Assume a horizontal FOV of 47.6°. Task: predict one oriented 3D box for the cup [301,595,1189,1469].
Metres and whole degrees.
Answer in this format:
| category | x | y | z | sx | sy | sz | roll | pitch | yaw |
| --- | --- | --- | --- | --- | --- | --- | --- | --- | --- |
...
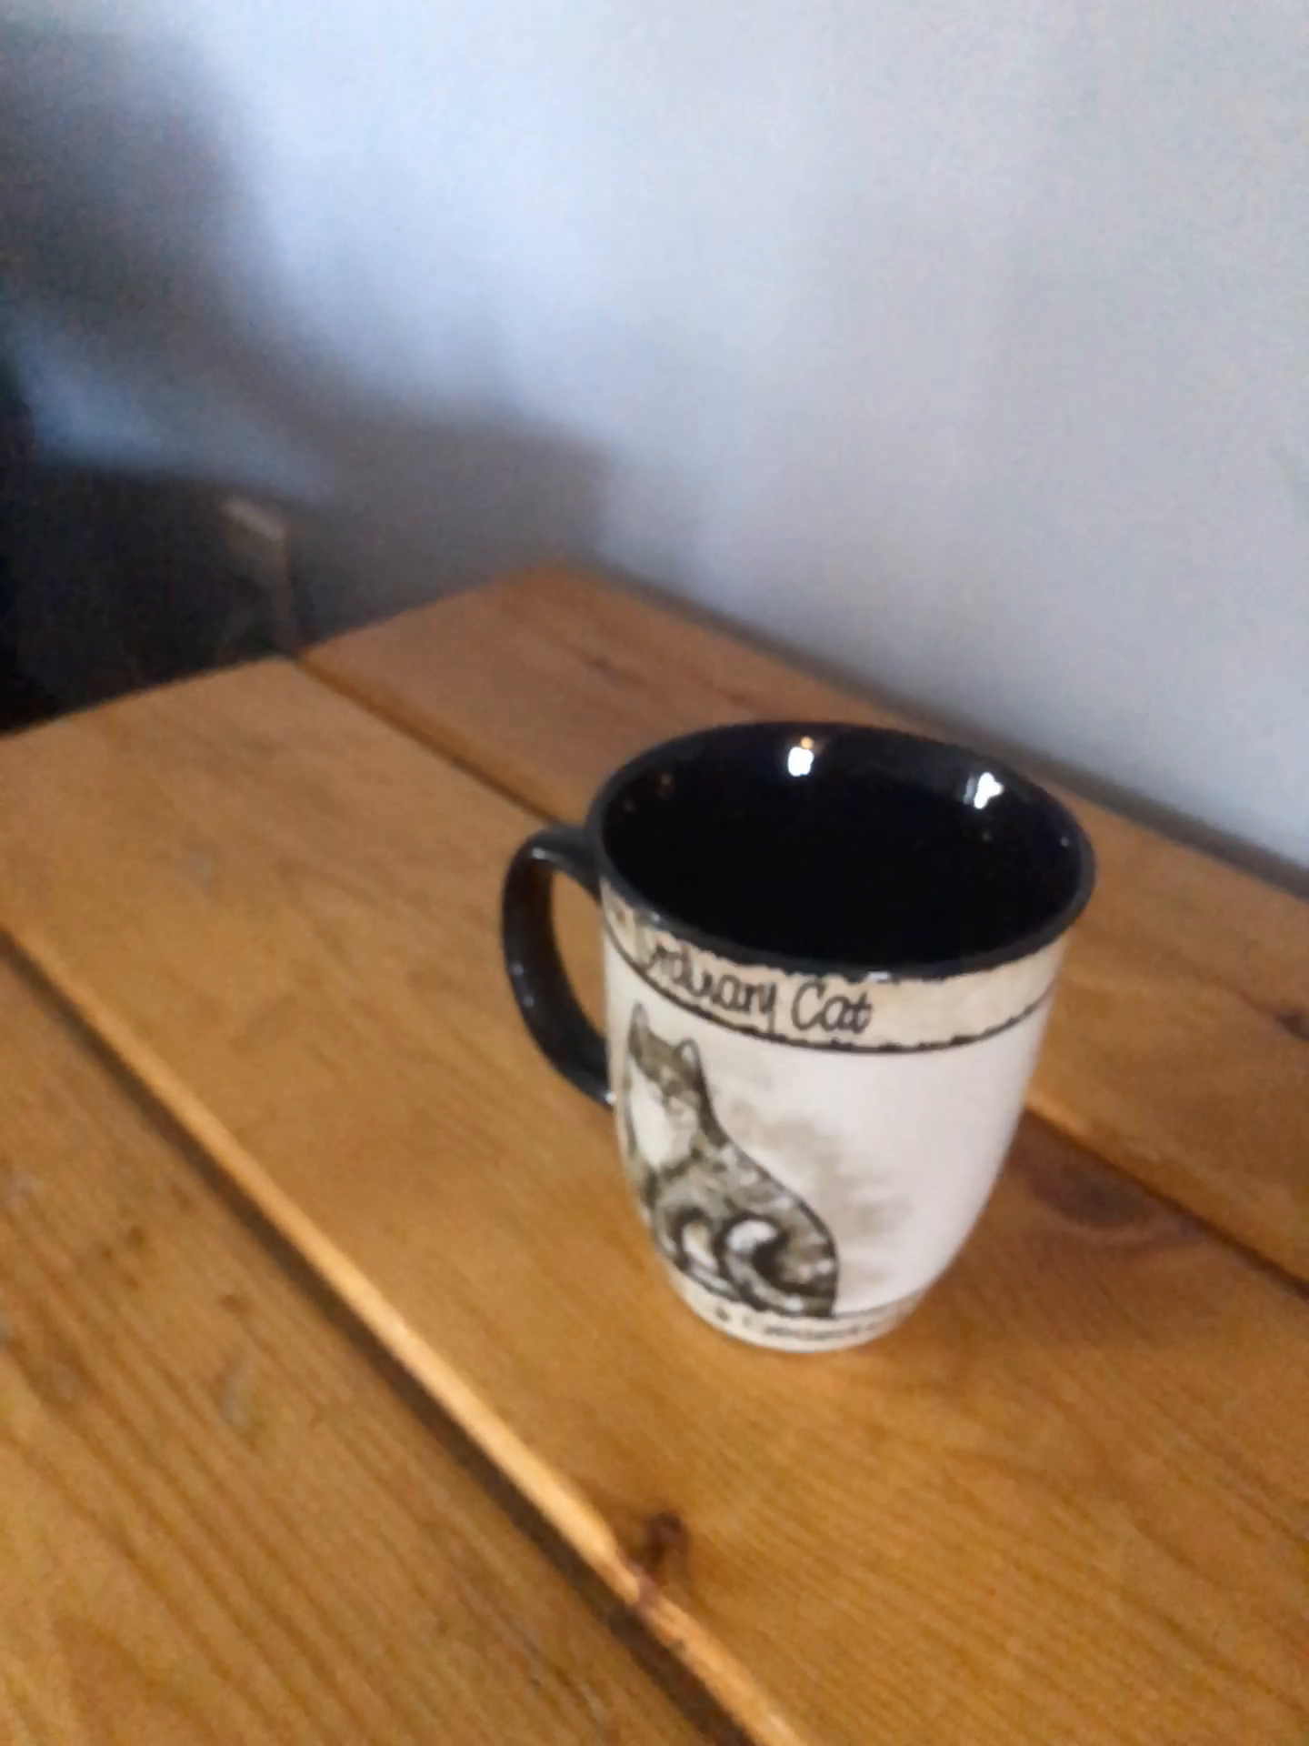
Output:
| category | x | y | z | sx | sy | sz | roll | pitch | yaw |
| --- | --- | --- | --- | --- | --- | --- | --- | --- | --- |
| cup | 0.015 | 0.021 | 0.315 | 0.140 | 0.100 | 0.100 | 26 | 41 | 33 |
